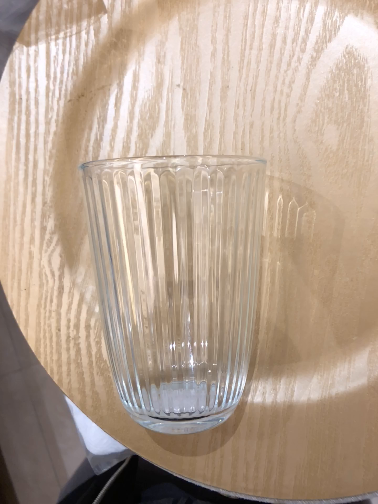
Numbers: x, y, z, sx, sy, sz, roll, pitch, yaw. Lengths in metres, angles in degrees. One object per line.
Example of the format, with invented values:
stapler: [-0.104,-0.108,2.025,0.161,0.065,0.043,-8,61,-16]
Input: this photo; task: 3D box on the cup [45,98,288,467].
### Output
cup: [-0.004,0.011,0.196,0.090,0.070,0.130,-1,92,18]
